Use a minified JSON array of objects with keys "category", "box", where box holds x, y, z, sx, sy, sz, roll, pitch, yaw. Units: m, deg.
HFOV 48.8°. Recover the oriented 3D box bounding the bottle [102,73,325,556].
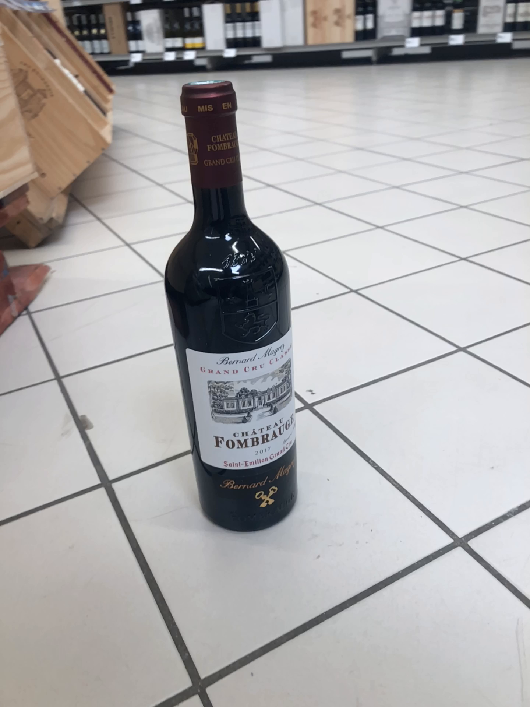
[{"category":"bottle","box":[-0.024,-0.019,0.382,0.090,0.288,0.090,-3,29,2]}]
